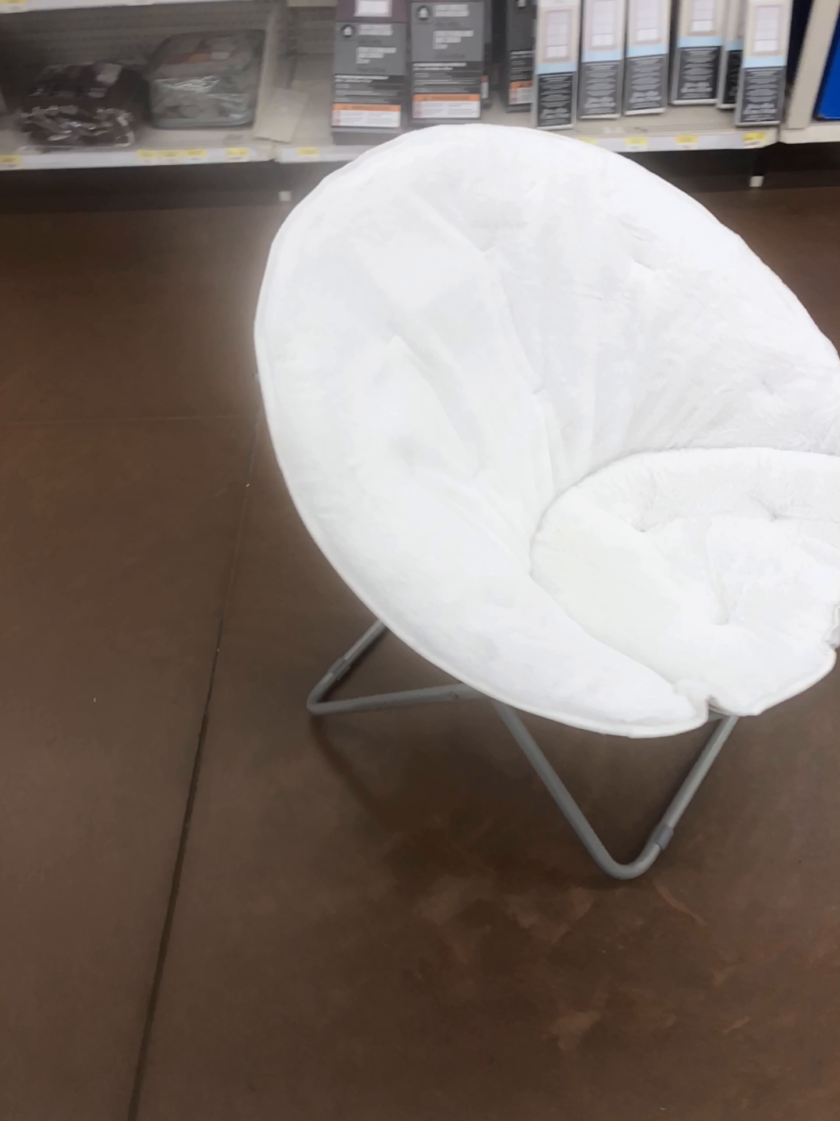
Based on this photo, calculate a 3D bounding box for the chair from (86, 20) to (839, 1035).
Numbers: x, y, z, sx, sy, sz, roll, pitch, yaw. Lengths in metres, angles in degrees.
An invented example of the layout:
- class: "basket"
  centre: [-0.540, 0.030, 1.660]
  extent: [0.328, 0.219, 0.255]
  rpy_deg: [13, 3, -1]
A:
- class: "chair"
  centre: [0.242, -0.109, 1.101]
  extent: [0.751, 0.648, 0.761]
  rpy_deg: [28, 54, 26]
